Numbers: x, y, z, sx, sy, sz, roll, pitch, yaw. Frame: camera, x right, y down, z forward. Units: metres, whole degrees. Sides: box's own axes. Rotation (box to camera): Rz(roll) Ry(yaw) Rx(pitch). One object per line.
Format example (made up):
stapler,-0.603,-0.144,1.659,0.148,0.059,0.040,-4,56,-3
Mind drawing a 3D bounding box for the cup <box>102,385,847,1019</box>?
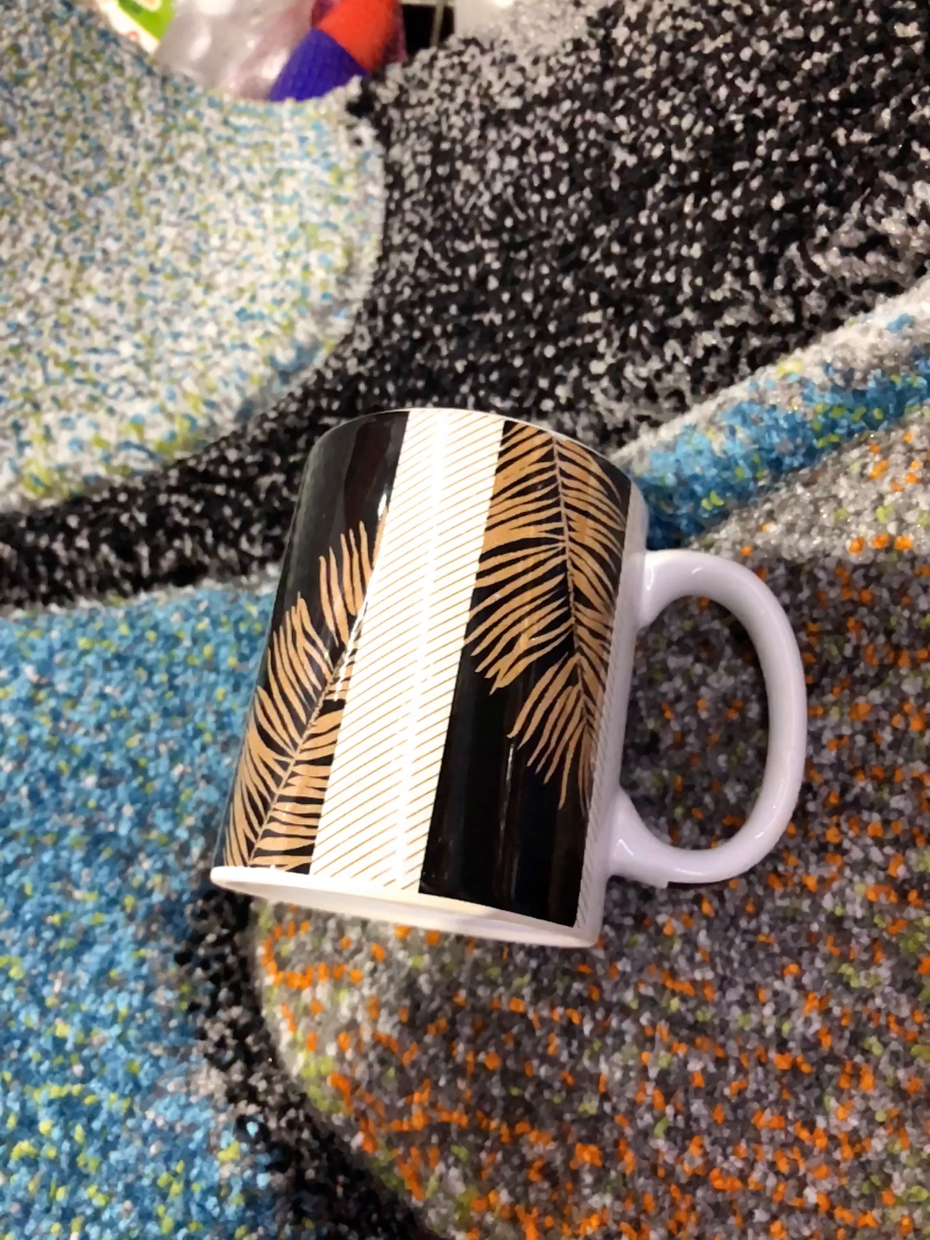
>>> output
cup,0.006,0.020,0.217,0.120,0.070,0.100,7,72,2
